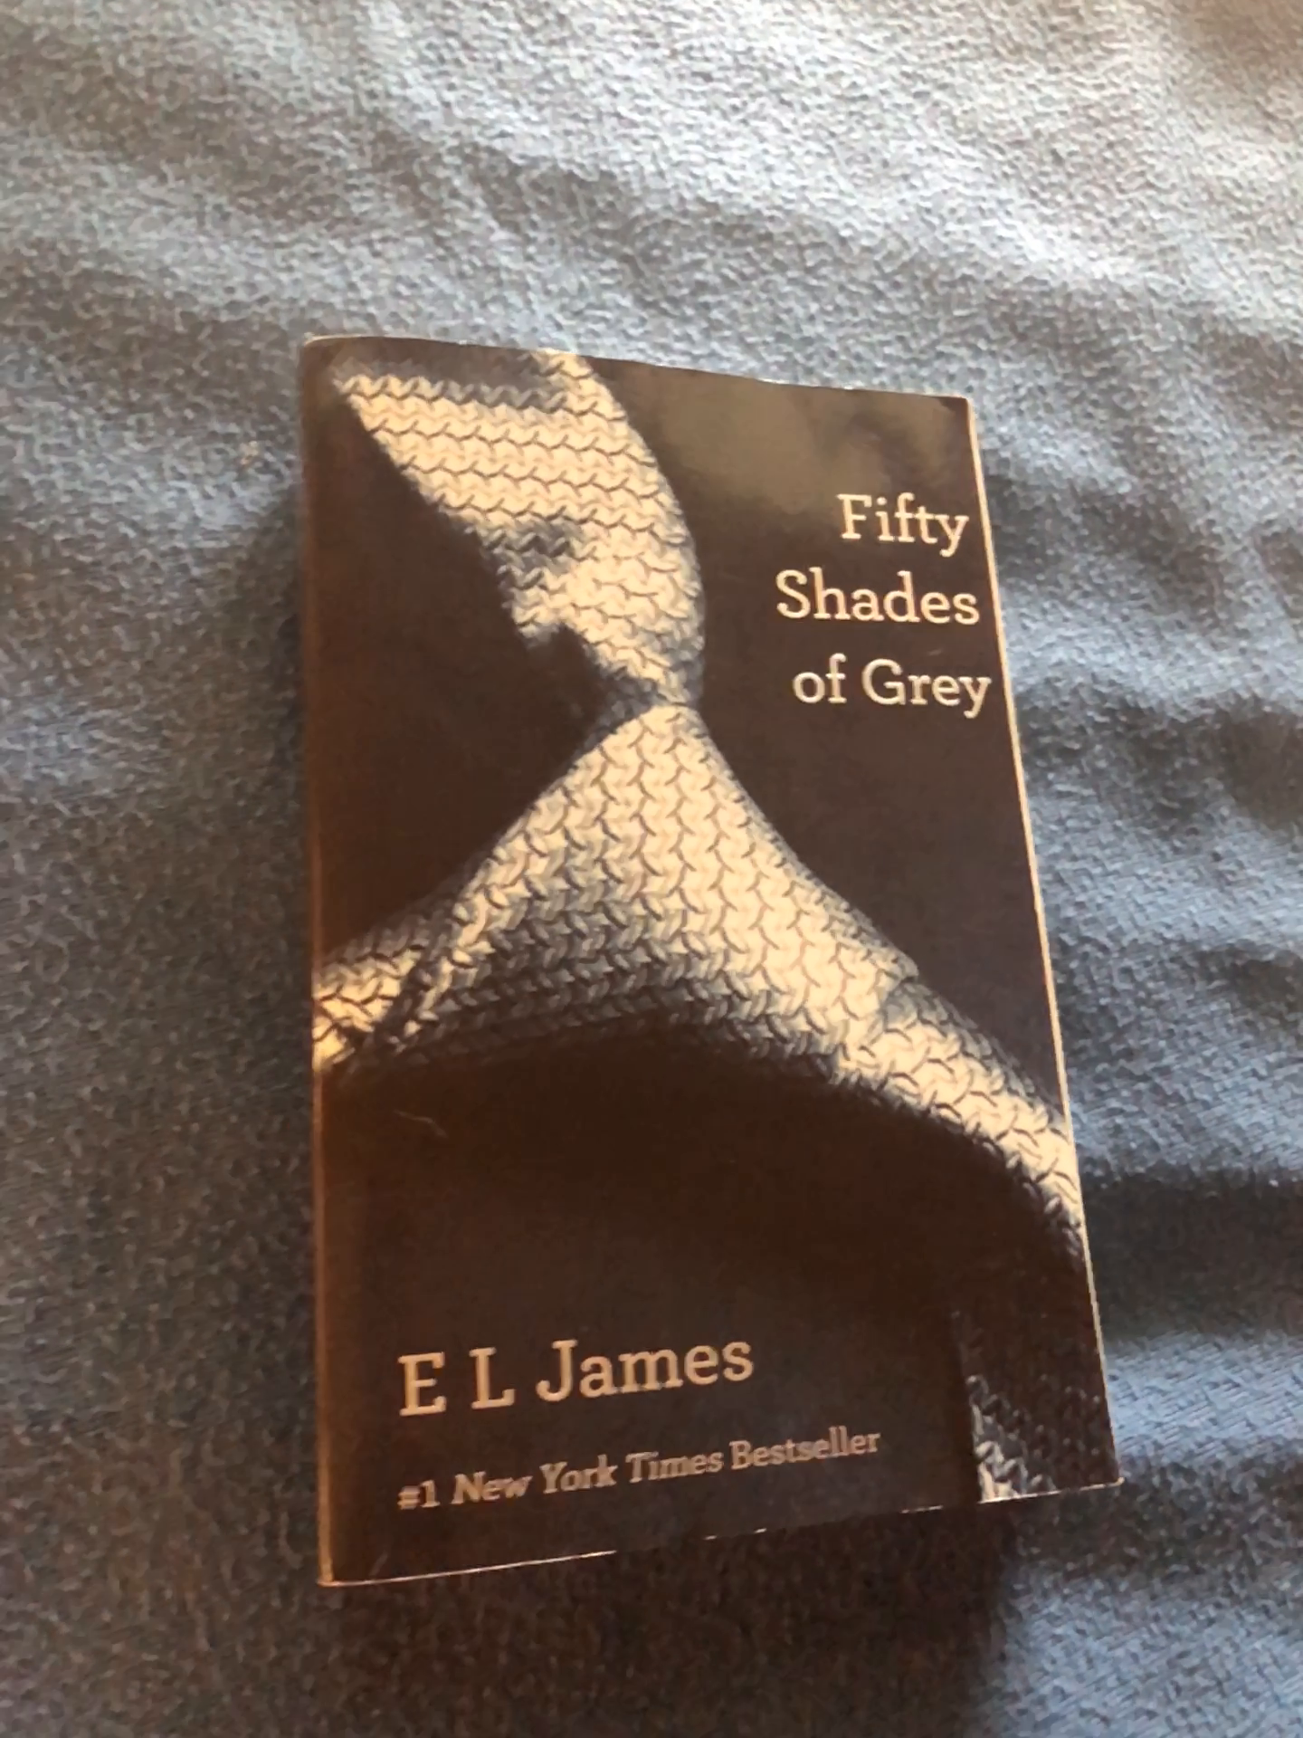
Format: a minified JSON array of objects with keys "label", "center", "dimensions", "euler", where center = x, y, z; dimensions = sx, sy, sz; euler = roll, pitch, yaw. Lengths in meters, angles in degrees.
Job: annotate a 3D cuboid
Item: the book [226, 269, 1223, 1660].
[{"label":"book","center":[0.004,0.006,0.253],"dimensions":[0.150,0.040,0.210],"euler":[0,74,-15]}]
